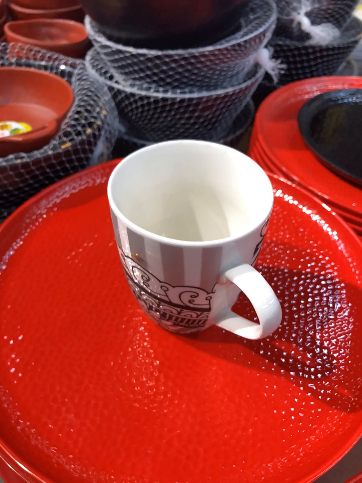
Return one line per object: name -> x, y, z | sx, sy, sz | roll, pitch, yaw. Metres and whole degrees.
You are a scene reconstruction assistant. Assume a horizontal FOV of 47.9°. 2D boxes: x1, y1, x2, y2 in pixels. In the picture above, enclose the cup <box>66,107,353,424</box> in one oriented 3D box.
cup -> 0.004, 0.007, 0.225 | 0.080, 0.099, 0.120 | -22, 51, -23
